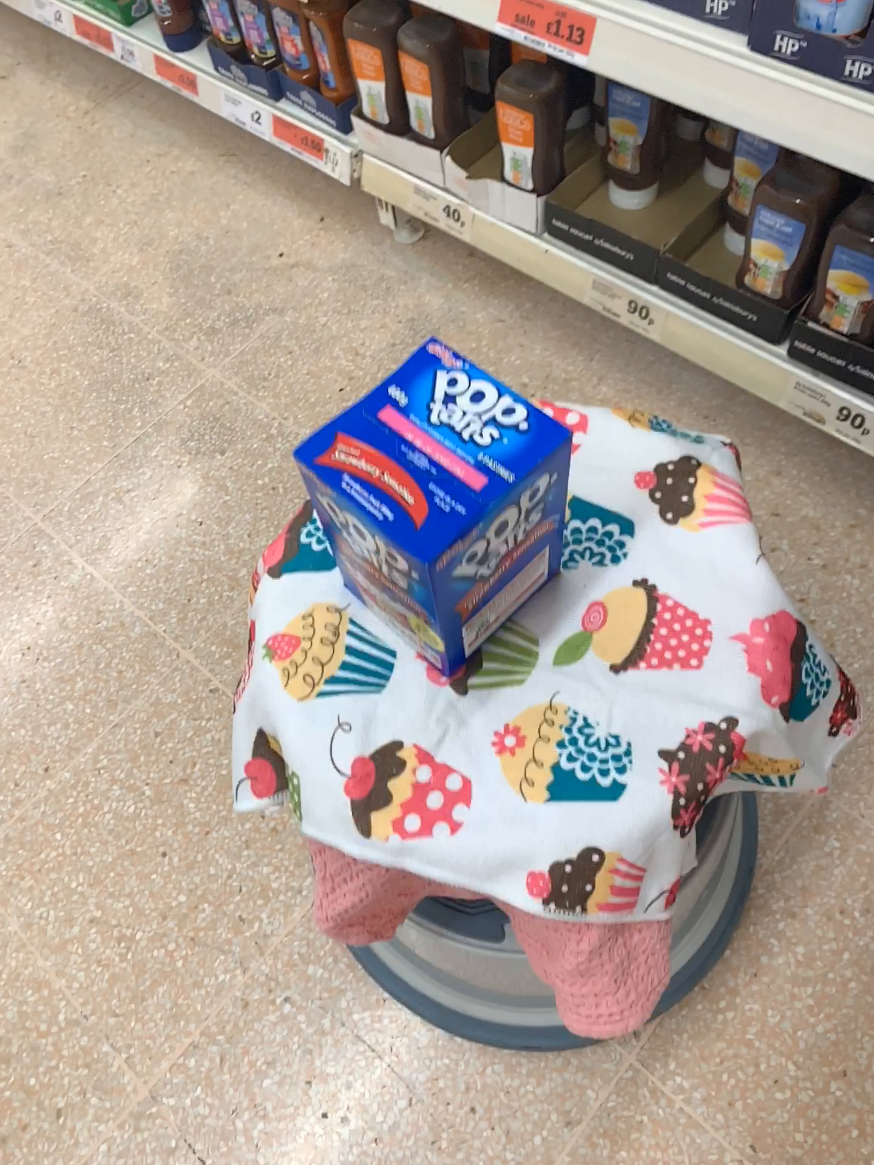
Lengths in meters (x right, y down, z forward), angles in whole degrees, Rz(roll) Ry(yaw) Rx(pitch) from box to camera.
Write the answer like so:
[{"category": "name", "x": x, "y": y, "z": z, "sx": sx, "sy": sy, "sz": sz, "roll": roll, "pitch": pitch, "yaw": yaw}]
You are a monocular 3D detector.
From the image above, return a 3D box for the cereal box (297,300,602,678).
[{"category": "cereal box", "x": 0.012, "y": -0.041, "z": 0.454, "sx": 0.100, "sy": 0.139, "sz": 0.090, "roll": -42, "pitch": 64, "yaw": -15}]
